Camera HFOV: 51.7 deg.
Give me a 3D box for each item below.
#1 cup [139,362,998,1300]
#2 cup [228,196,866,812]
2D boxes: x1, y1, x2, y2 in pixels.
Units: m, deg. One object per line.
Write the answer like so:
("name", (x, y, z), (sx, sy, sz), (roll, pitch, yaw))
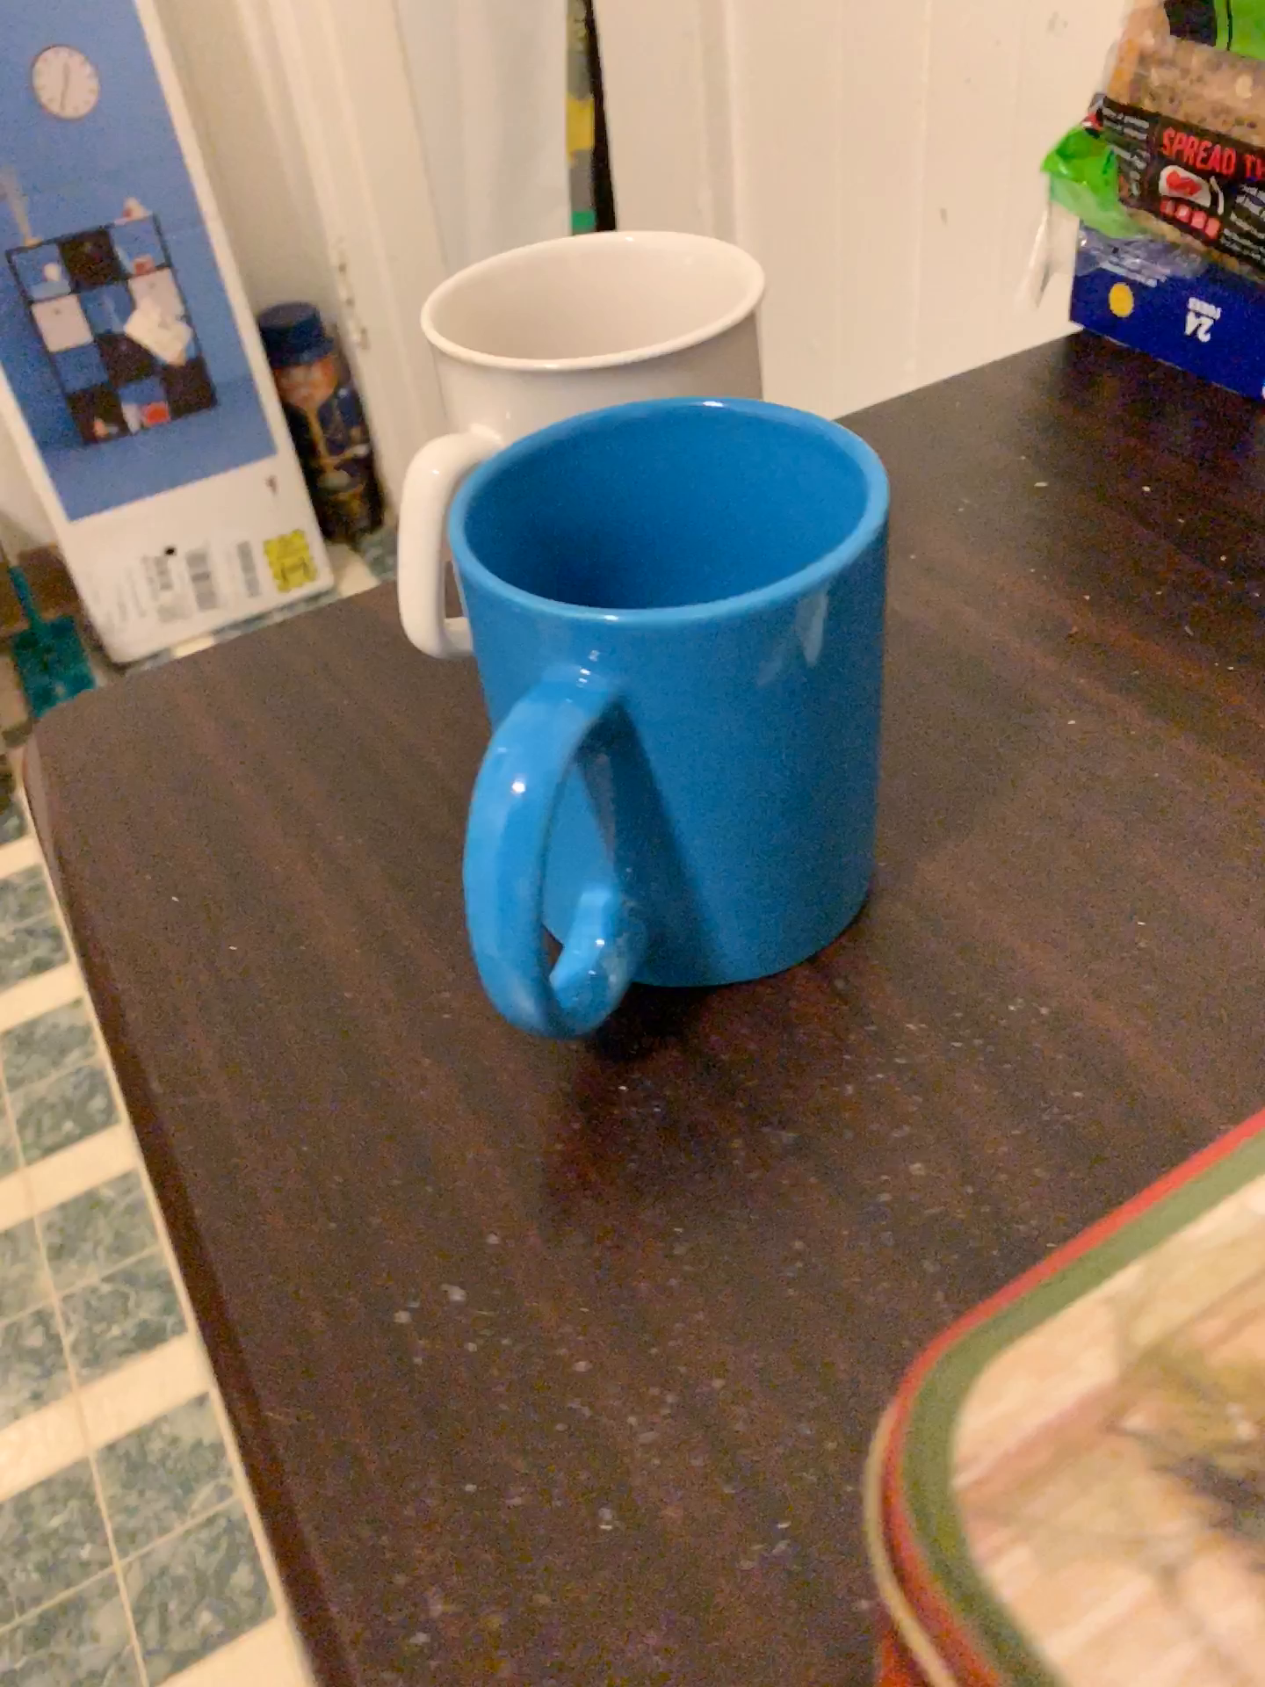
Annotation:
("cup", (0.002, -0.012, 0.258), (0.090, 0.099, 0.140), (16, 48, 24))
("cup", (-0.014, -0.092, 0.332), (0.090, 0.089, 0.120), (29, 54, 33))
